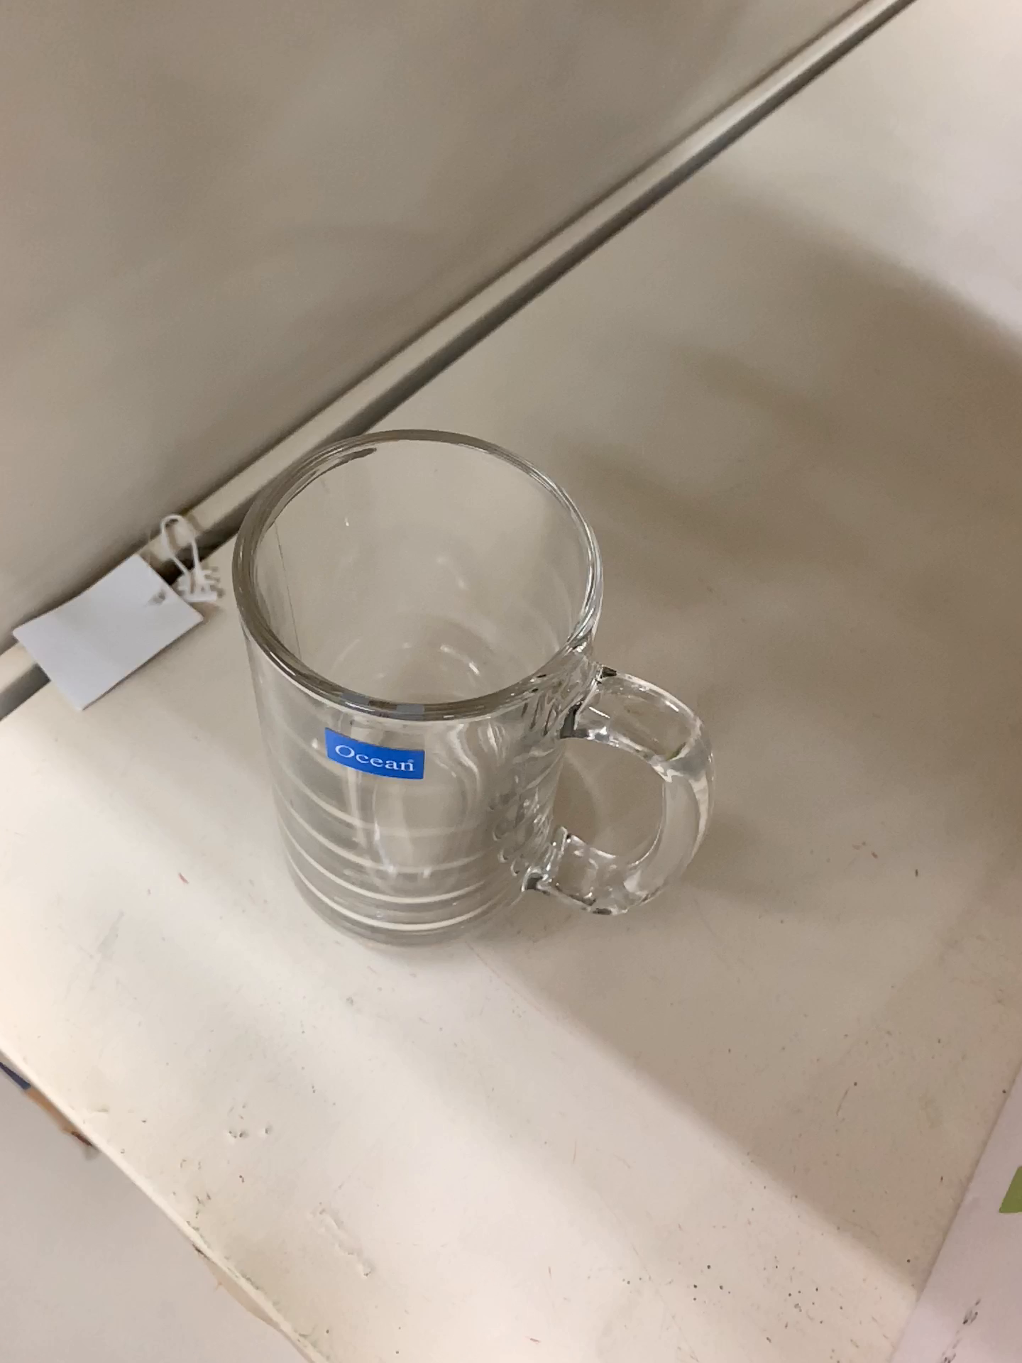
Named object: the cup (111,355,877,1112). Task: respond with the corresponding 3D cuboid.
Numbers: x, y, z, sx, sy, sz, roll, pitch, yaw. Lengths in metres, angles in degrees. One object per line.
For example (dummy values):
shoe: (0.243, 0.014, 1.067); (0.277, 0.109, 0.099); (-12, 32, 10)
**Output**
cup: (-0.006, 0.019, 0.254); (0.120, 0.129, 0.080); (29, 59, 13)
